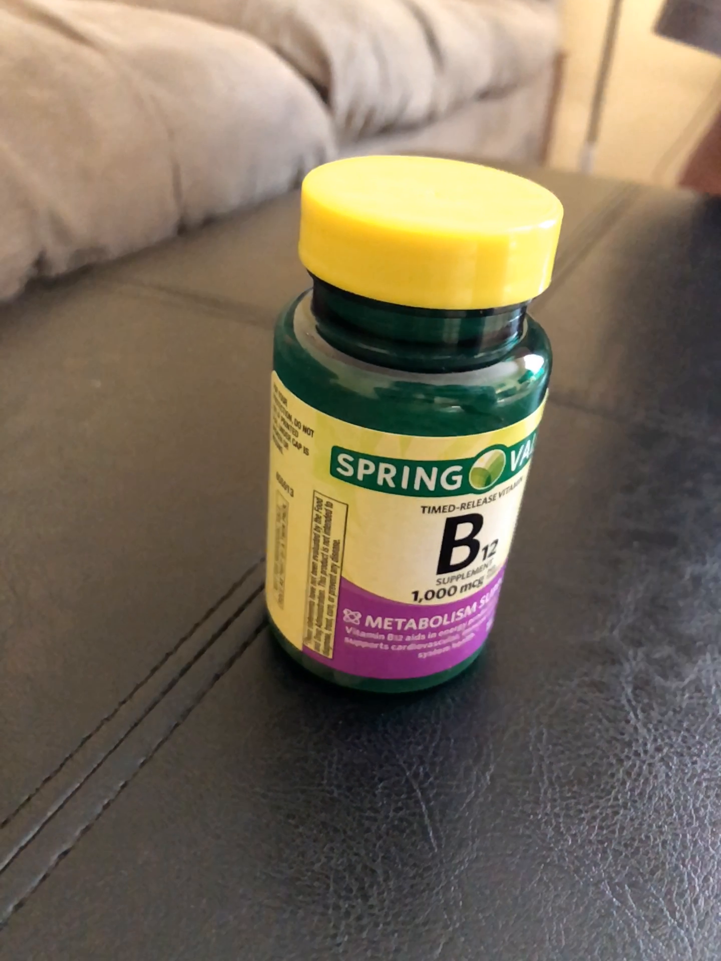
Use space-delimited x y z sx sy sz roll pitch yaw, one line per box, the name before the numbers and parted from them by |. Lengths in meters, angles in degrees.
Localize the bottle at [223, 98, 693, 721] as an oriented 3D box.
bottle | 0.010 -0.014 0.147 0.050 0.090 0.050 3 33 -2
